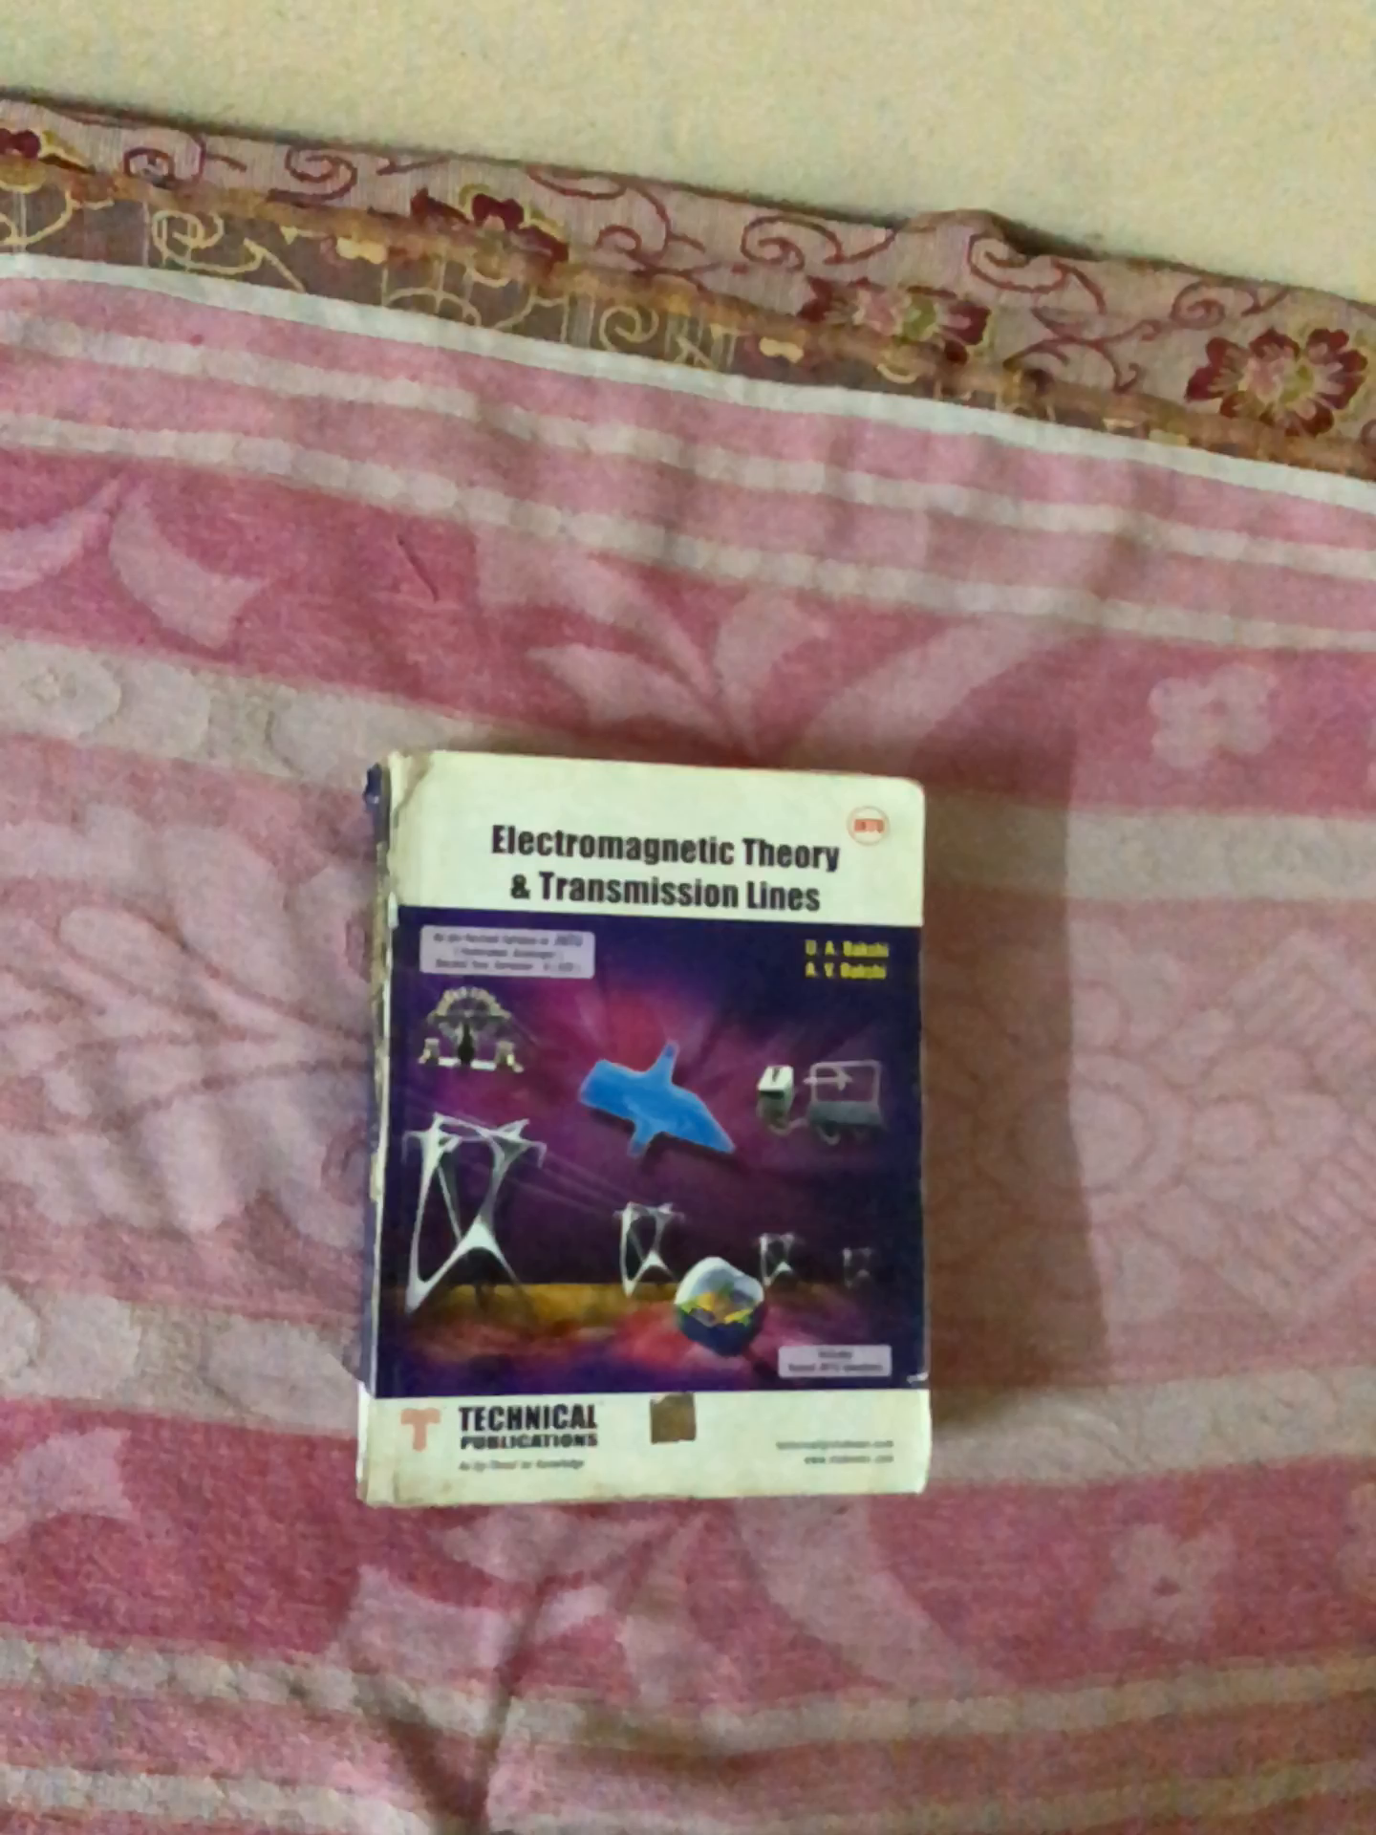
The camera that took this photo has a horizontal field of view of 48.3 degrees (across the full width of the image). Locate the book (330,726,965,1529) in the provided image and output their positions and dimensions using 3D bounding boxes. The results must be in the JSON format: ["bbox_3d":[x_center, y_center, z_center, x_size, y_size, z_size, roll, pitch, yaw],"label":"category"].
[{"bbox_3d":[-0.014,0.068,0.527,0.200,0.060,0.250,1,81,-9],"label":"book"}]
